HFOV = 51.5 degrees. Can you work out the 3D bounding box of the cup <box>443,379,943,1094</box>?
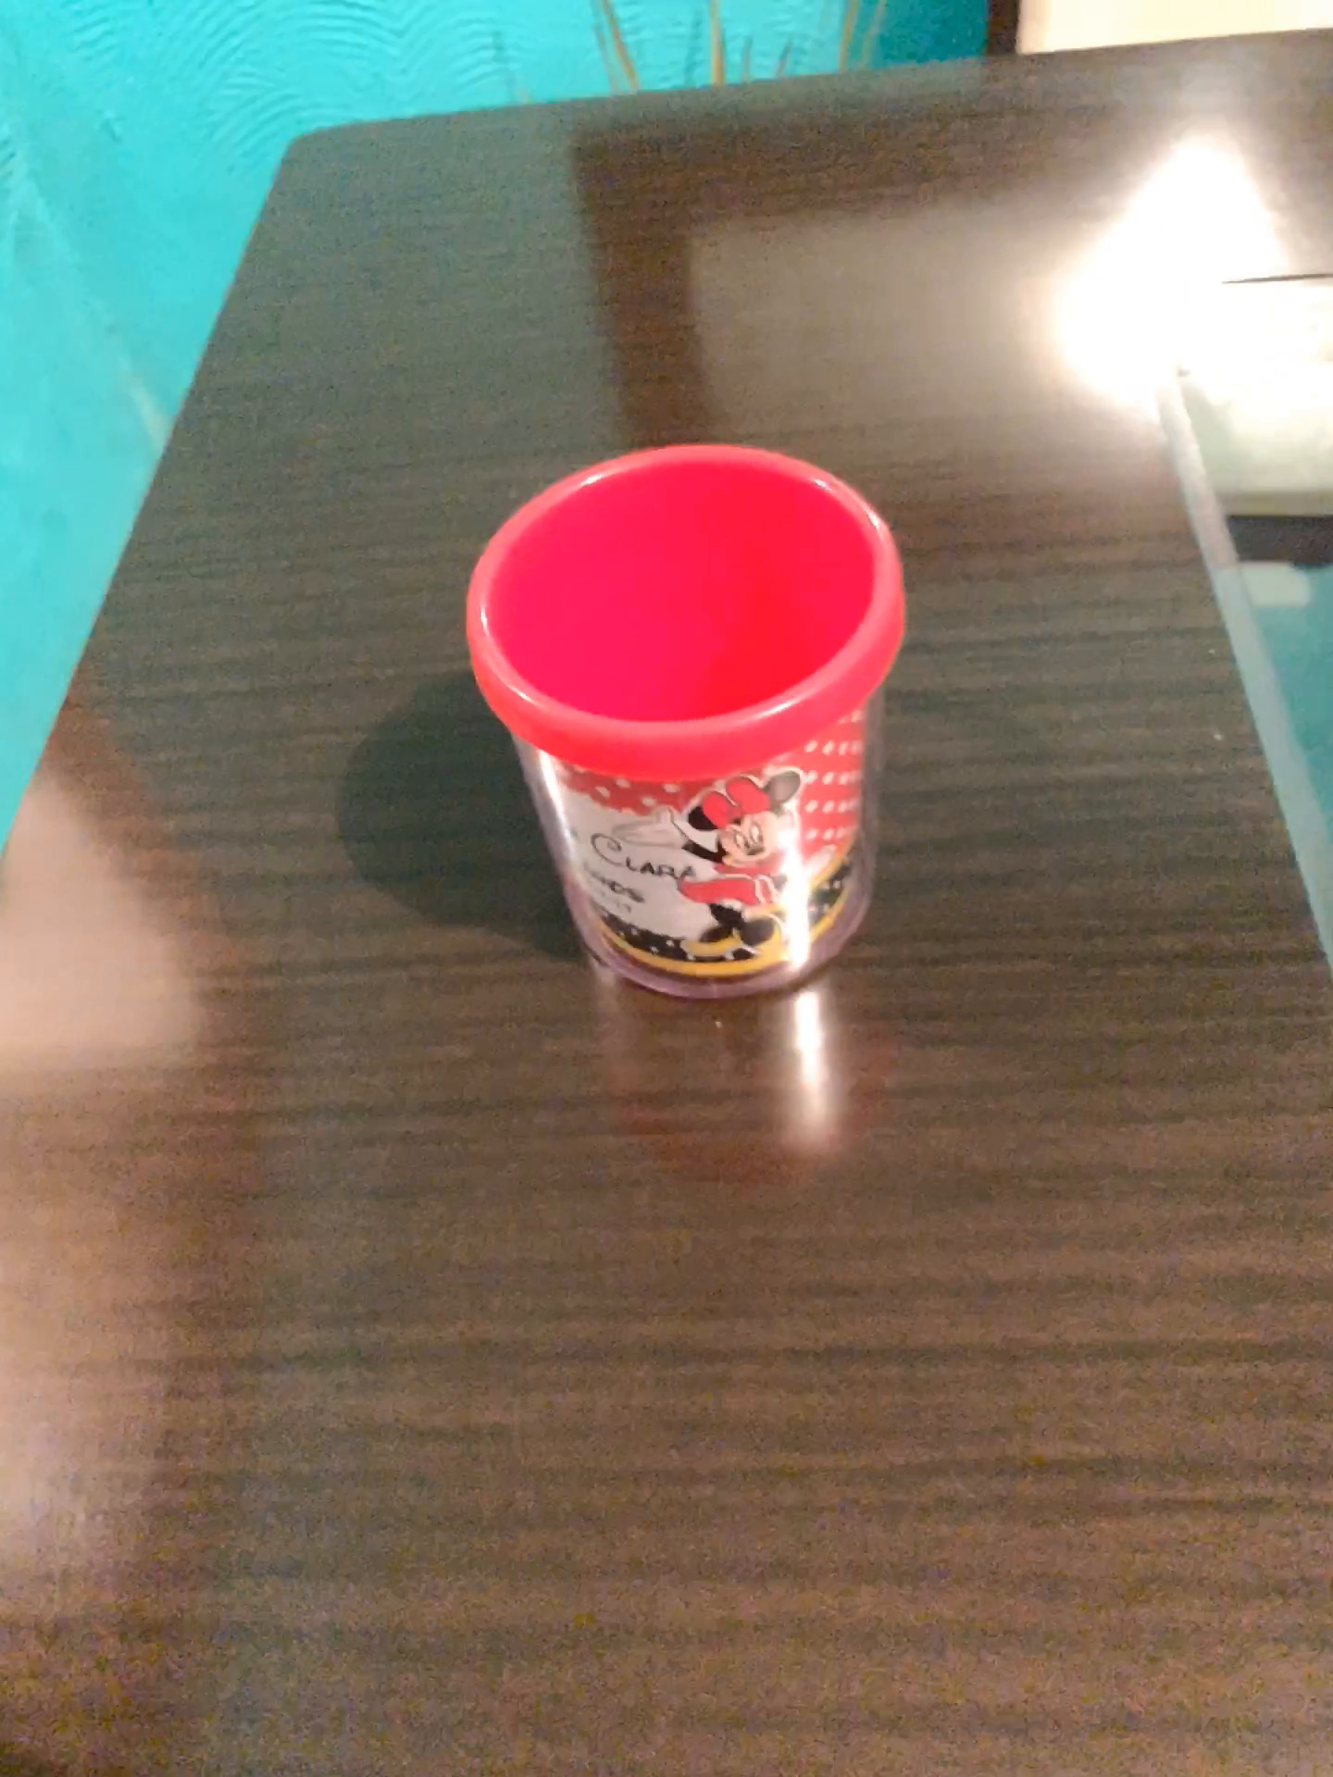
[{"bbox_3d":[0.010,-0.033,0.328,0.090,0.110,0.120,-4,52,5],"label":"cup"}]
